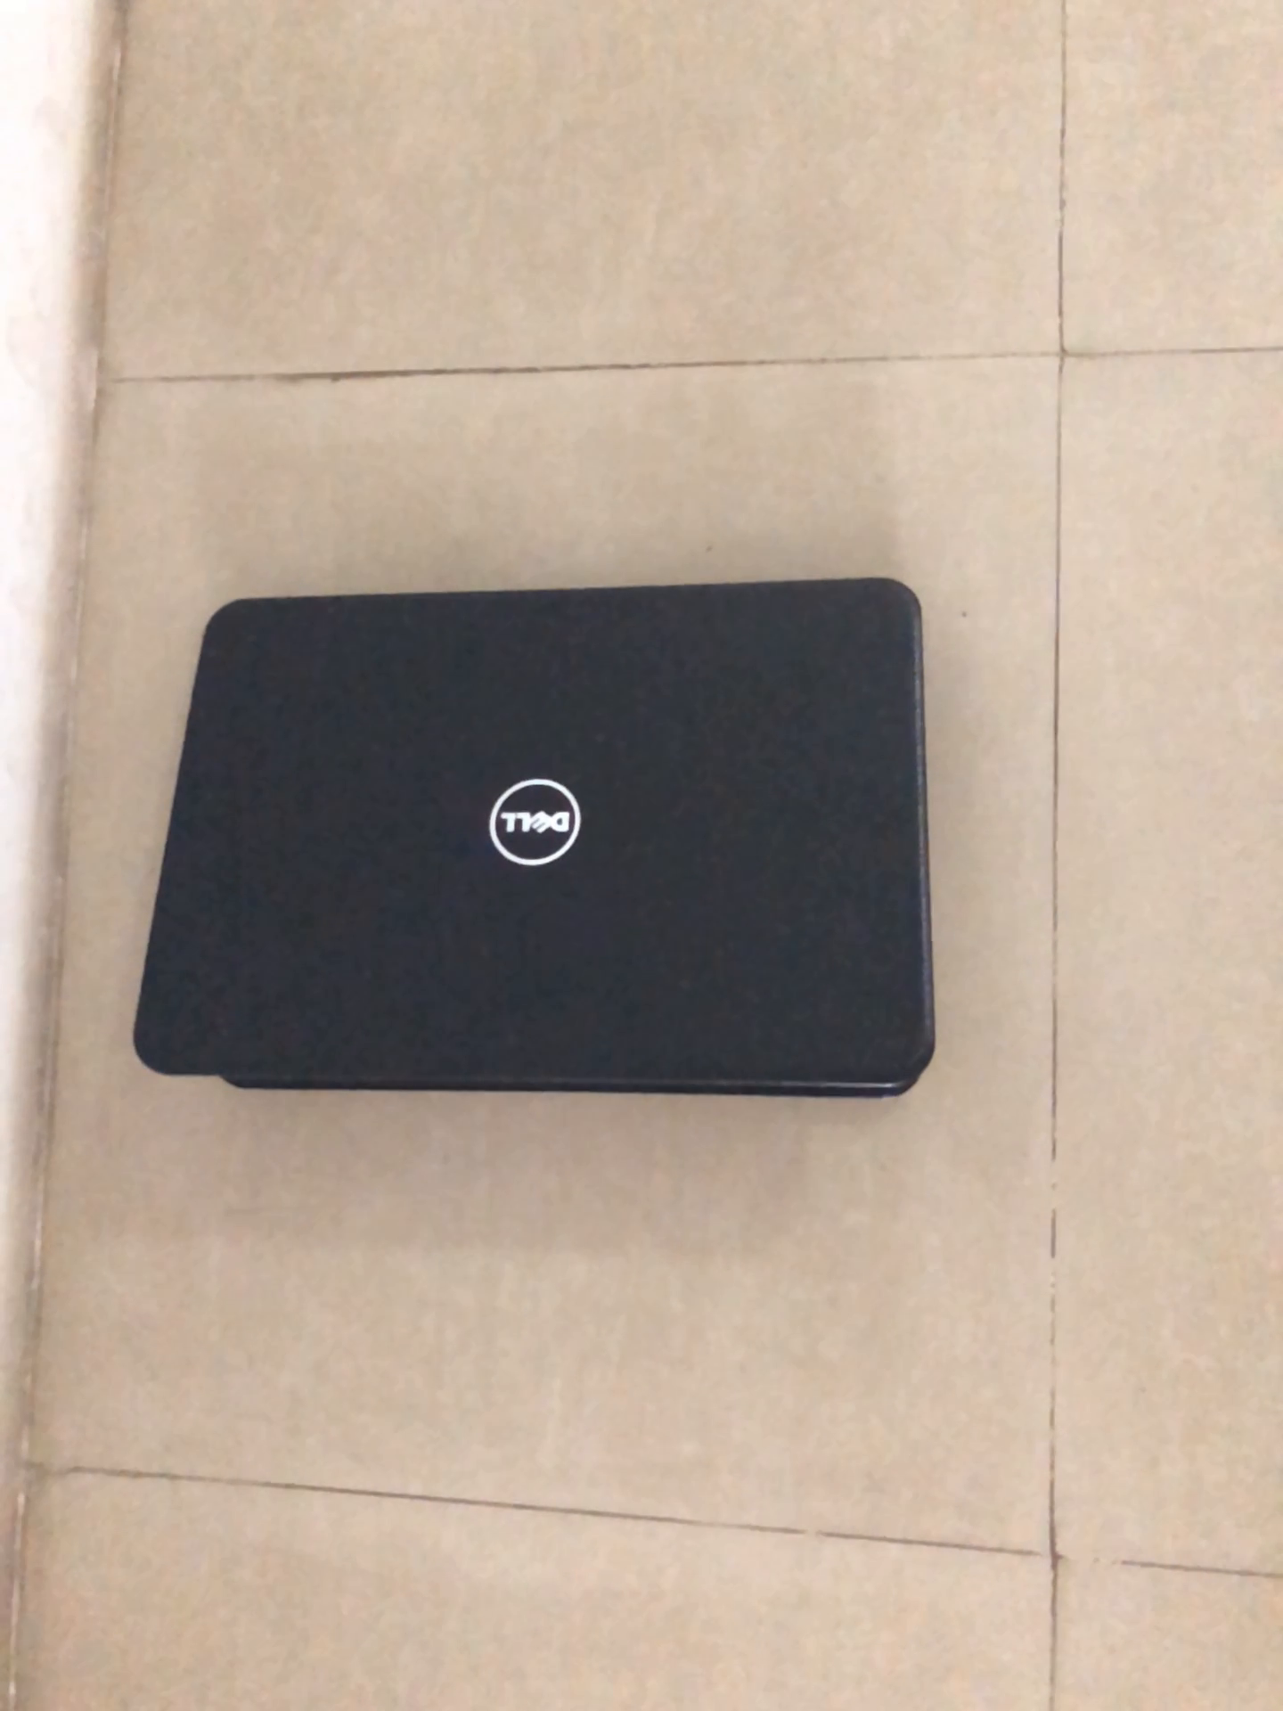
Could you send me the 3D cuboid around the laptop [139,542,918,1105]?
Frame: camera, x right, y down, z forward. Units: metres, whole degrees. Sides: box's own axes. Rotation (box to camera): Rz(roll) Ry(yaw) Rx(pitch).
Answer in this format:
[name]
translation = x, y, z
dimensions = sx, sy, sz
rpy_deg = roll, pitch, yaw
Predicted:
[laptop]
translation = -0.053, -0.009, 0.681
dimensions = 0.357, 0.078, 0.247
rpy_deg = -1, 87, 7
